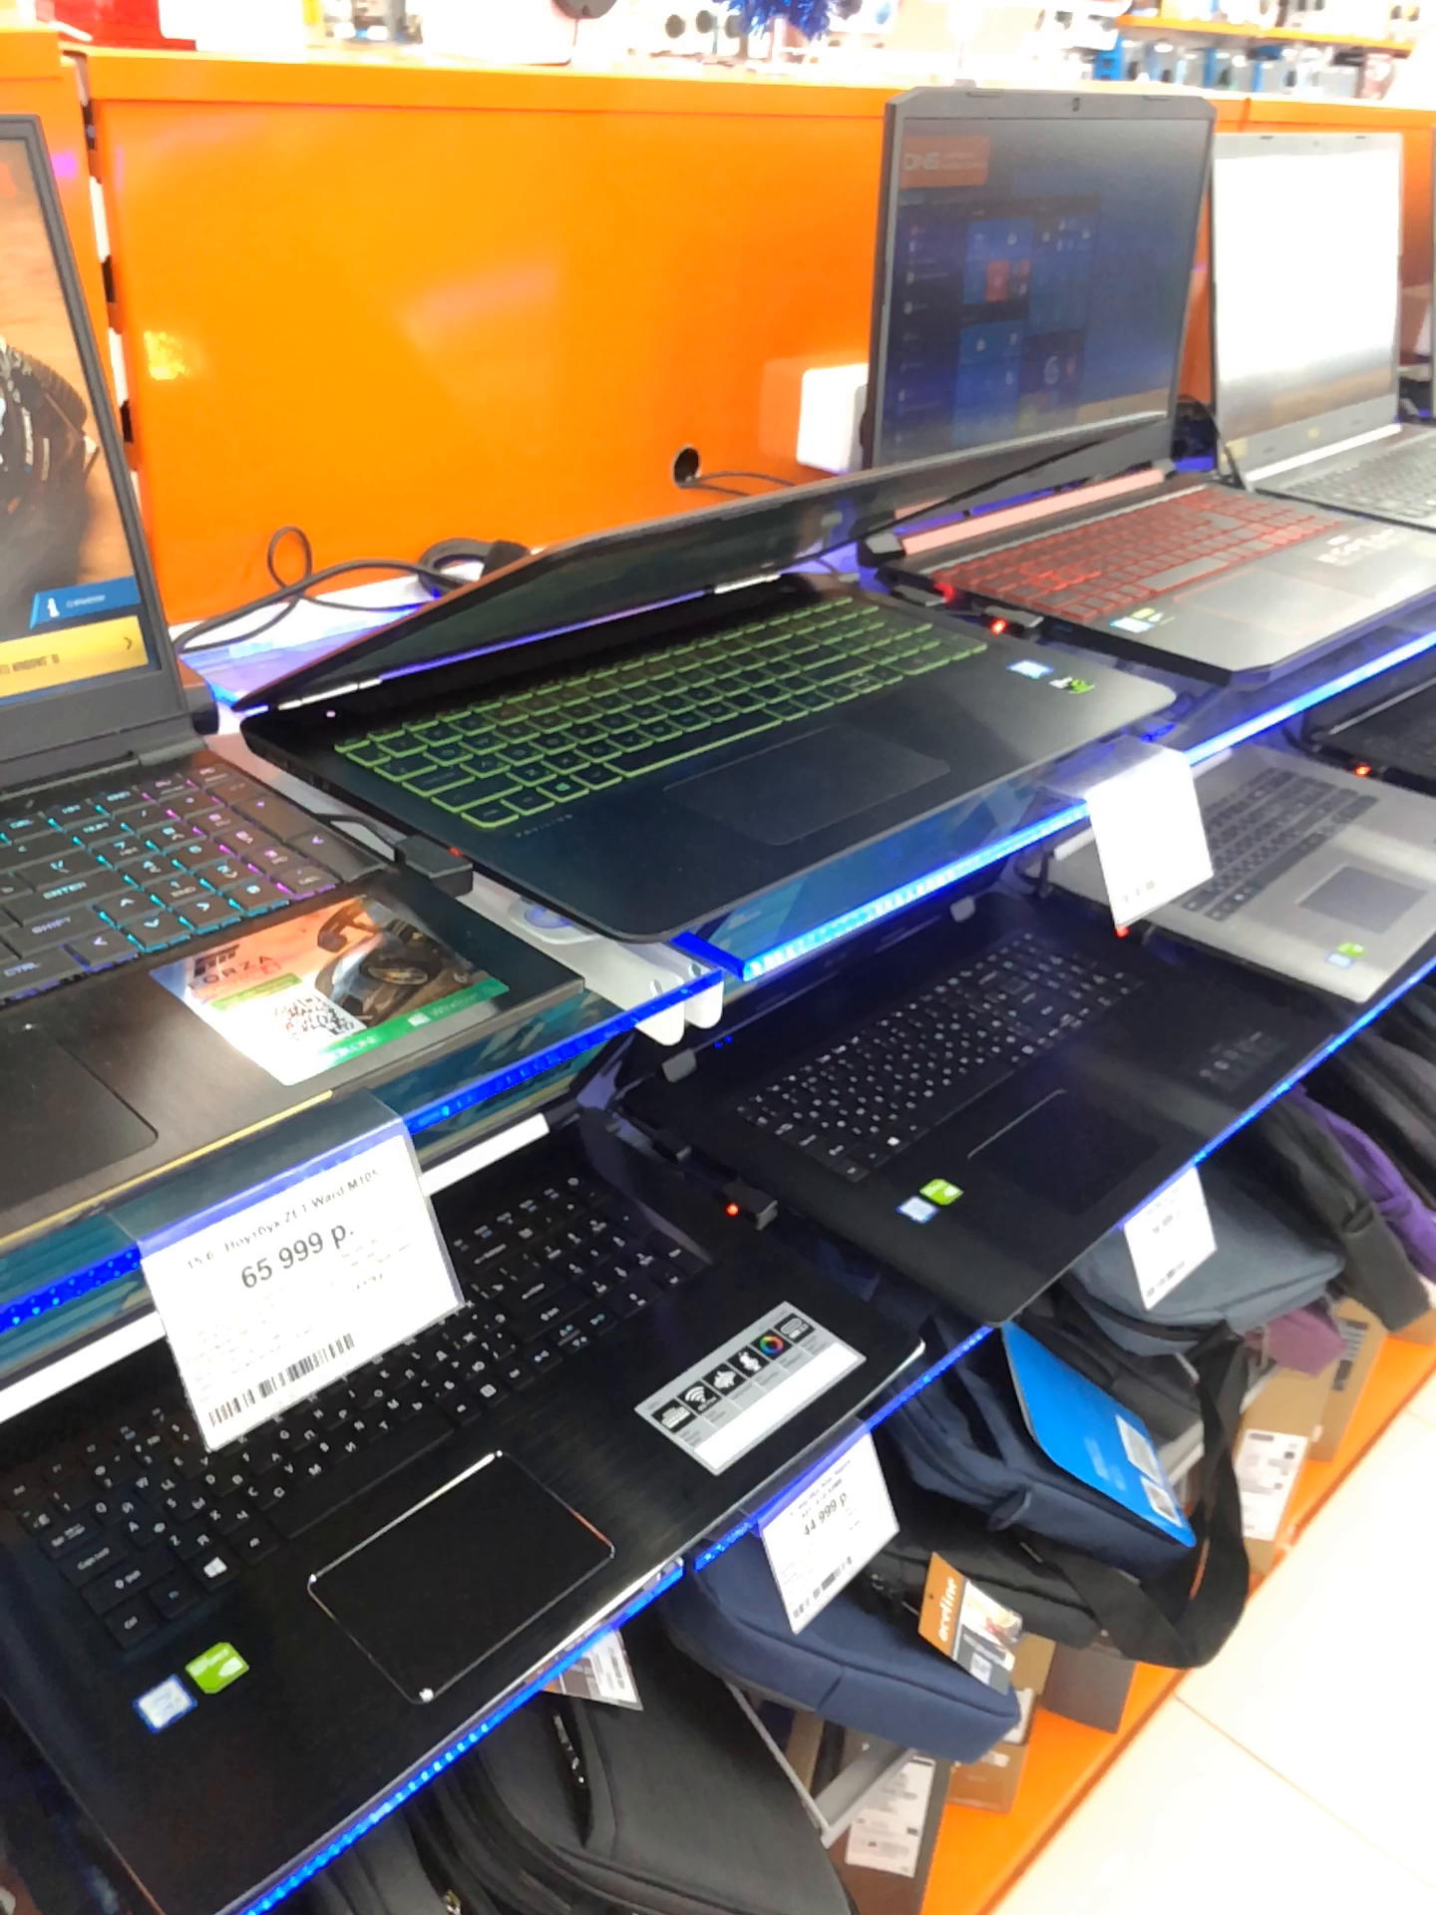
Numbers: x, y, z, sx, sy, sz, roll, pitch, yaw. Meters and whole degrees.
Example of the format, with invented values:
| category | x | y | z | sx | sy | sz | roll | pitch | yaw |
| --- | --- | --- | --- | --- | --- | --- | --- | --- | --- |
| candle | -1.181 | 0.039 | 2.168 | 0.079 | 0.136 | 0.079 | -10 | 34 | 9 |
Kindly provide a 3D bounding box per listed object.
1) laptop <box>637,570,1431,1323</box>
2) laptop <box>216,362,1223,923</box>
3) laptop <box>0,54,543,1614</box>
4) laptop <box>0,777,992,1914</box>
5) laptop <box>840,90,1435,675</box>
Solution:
| category | x | y | z | sx | sy | sz | roll | pitch | yaw |
| --- | --- | --- | --- | --- | --- | --- | --- | --- | --- |
| laptop | 0.190 | -0.042 | 0.974 | 0.275 | 0.254 | 0.398 | 26 | 38 | 36 |
| laptop | 0.016 | -0.166 | 0.698 | 0.227 | 0.118 | 0.370 | 28 | 37 | 35 |
| laptop | -0.273 | -0.095 | 0.426 | 0.303 | 0.219 | 0.341 | 28 | 37 | 35 |
| laptop | -0.121 | 0.114 | 0.693 | 0.262 | 0.217 | 0.413 | 28 | 37 | 36 |
| laptop | 0.317 | -0.368 | 0.966 | 0.253 | 0.245 | 0.410 | 25 | 35 | 31 |
